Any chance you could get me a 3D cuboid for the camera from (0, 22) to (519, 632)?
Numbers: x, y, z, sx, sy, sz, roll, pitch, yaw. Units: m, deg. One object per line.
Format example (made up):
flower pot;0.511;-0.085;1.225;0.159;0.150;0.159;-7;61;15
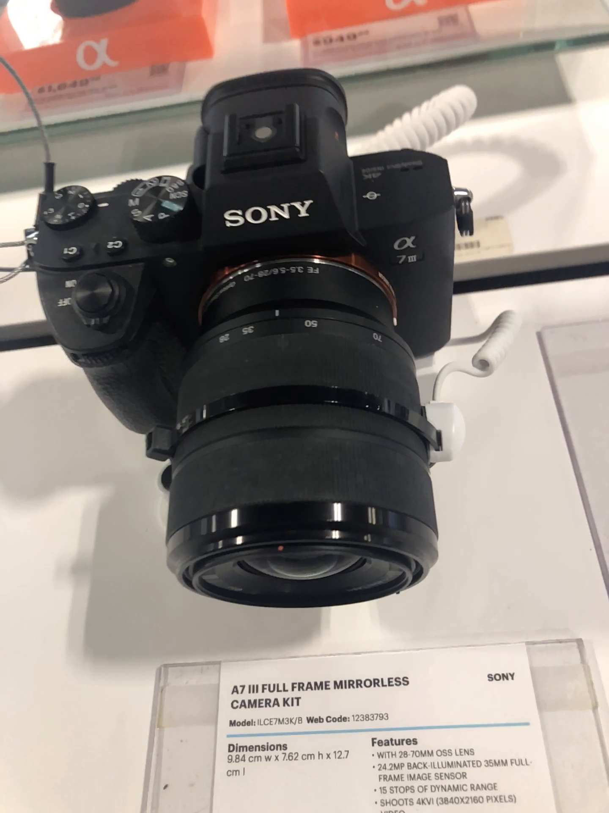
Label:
camera;-0.017;-0.018;0.199;0.120;0.100;0.130;-6;56;7
